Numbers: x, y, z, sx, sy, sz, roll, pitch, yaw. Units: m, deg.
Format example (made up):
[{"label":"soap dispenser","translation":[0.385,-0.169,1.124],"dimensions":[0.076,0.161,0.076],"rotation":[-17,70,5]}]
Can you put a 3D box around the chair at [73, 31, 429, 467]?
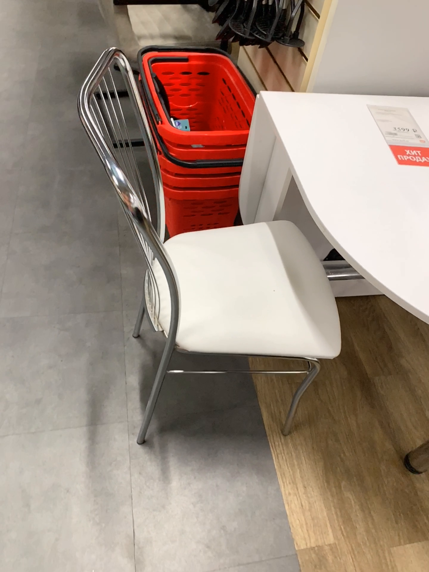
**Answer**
[{"label":"chair","translation":[0.012,0.010,1.058],"dimensions":[0.550,0.955,0.452],"rotation":[-4,51,-12]}]
